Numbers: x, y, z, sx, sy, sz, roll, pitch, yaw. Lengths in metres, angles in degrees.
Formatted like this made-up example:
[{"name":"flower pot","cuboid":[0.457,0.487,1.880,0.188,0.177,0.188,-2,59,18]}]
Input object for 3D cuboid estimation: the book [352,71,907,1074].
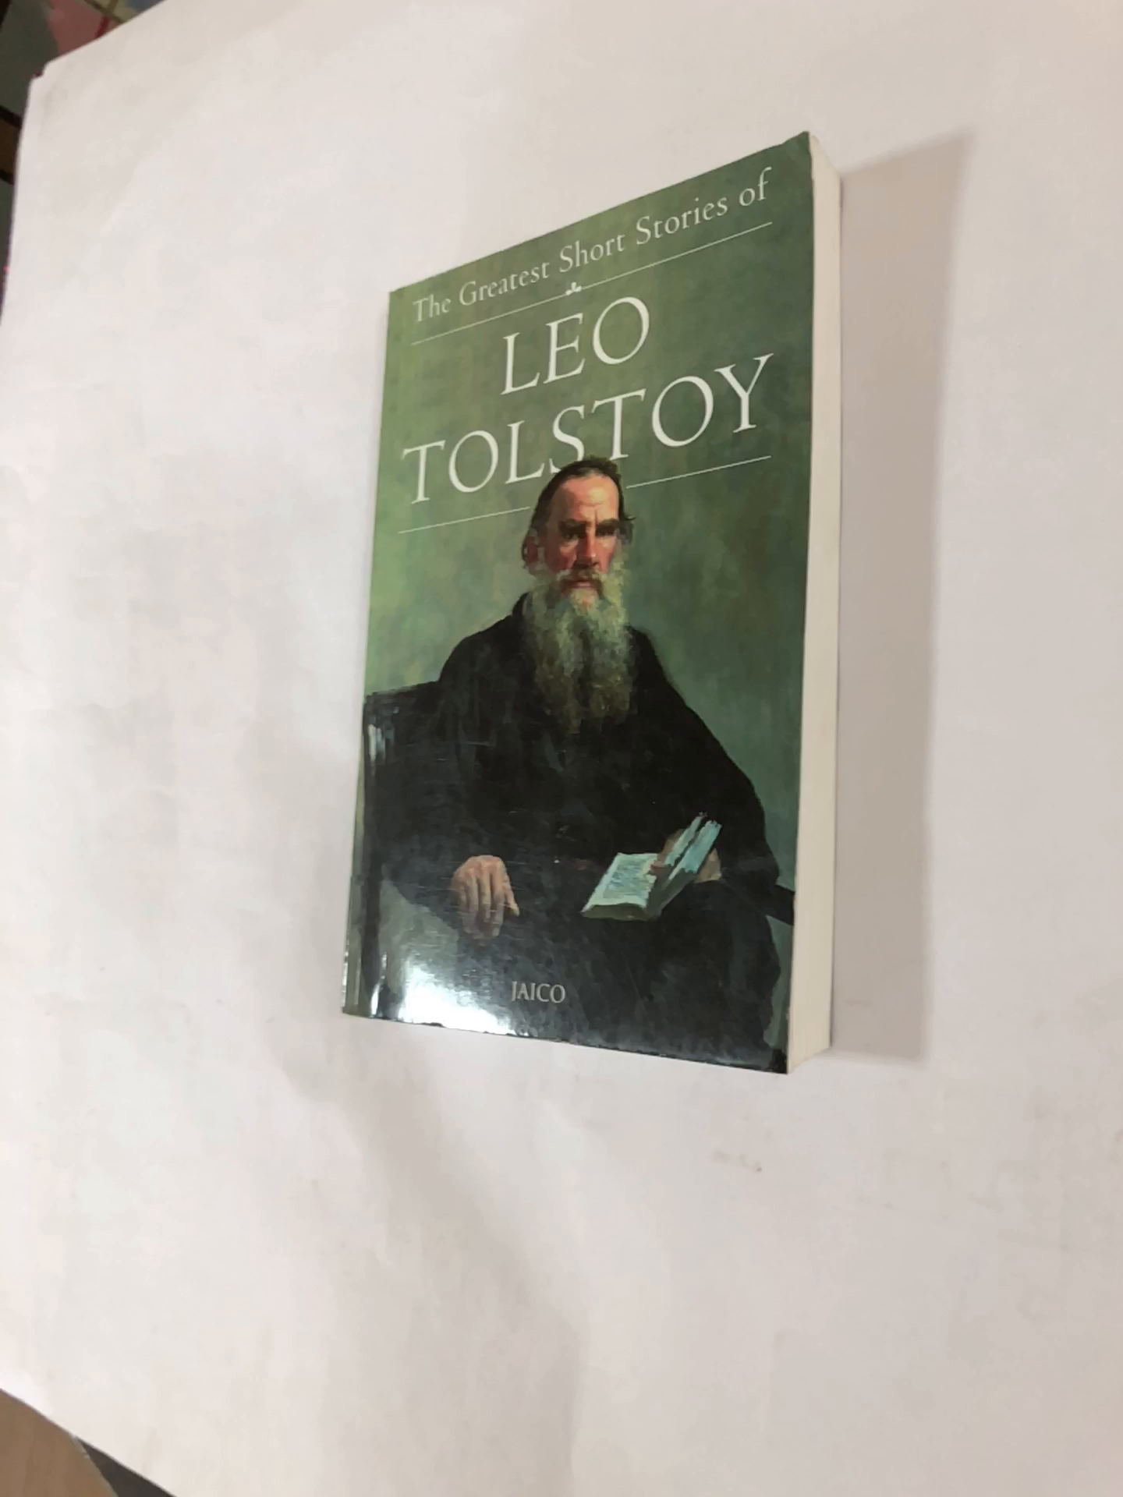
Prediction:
[{"name":"book","cuboid":[0.014,-0.040,0.330,0.151,0.020,0.230,-4,79,37]}]
